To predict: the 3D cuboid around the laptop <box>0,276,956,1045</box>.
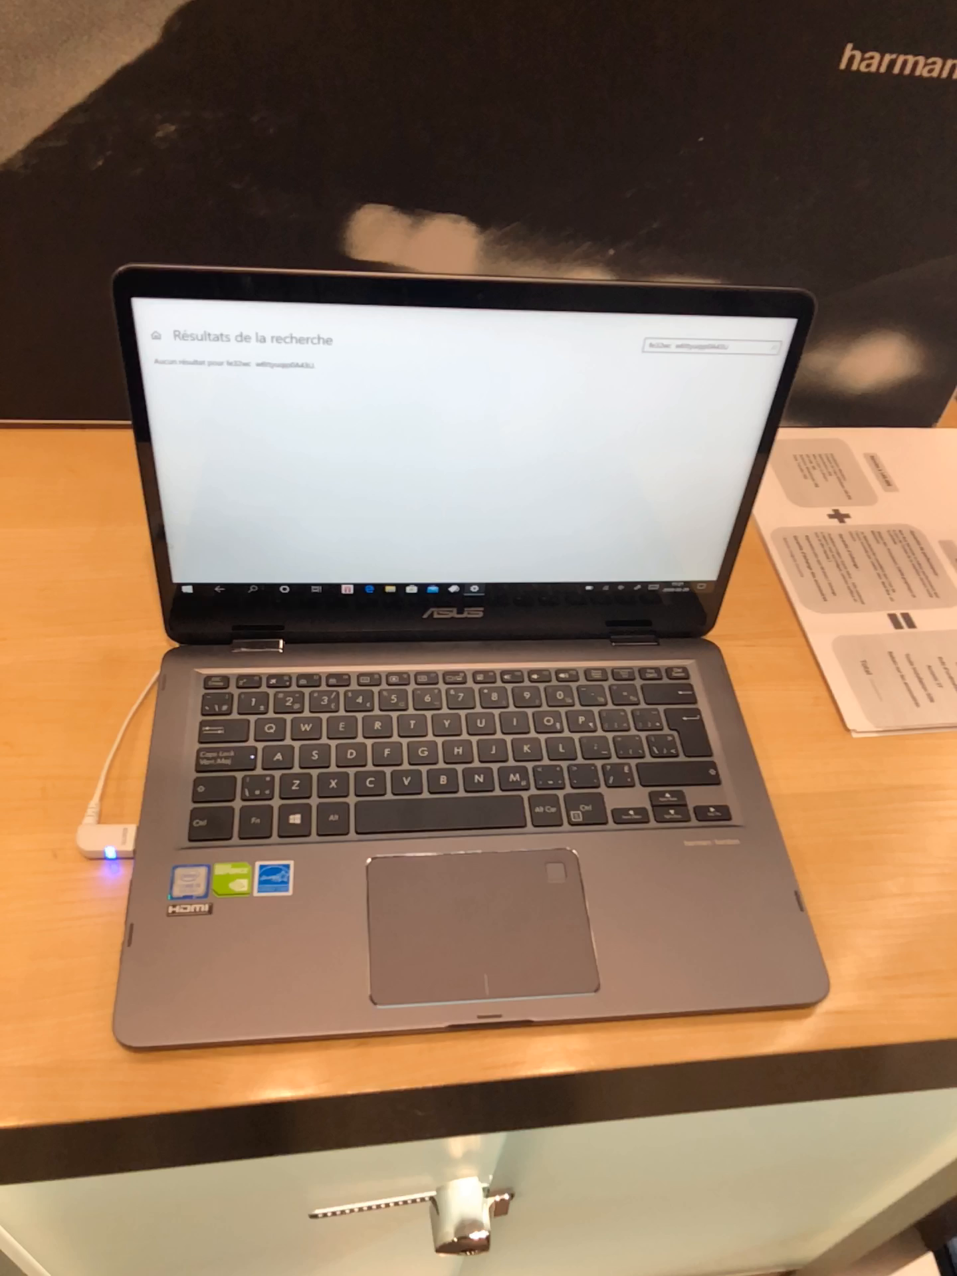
[{"bbox_3d":[0.005,0.009,0.470,0.320,0.224,0.240,-1,49,-8],"label":"laptop"}]
